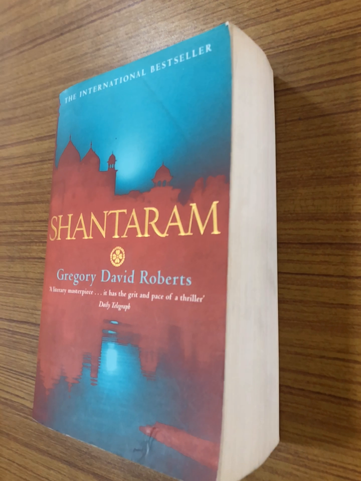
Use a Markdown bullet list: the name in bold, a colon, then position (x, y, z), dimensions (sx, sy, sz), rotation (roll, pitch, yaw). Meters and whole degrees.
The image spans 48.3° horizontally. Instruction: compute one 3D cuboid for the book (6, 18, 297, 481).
- **book**: position (-0.020, 0.009, 0.218), dimensions (0.151, 0.050, 0.190), rotation (-3, 82, 35)
